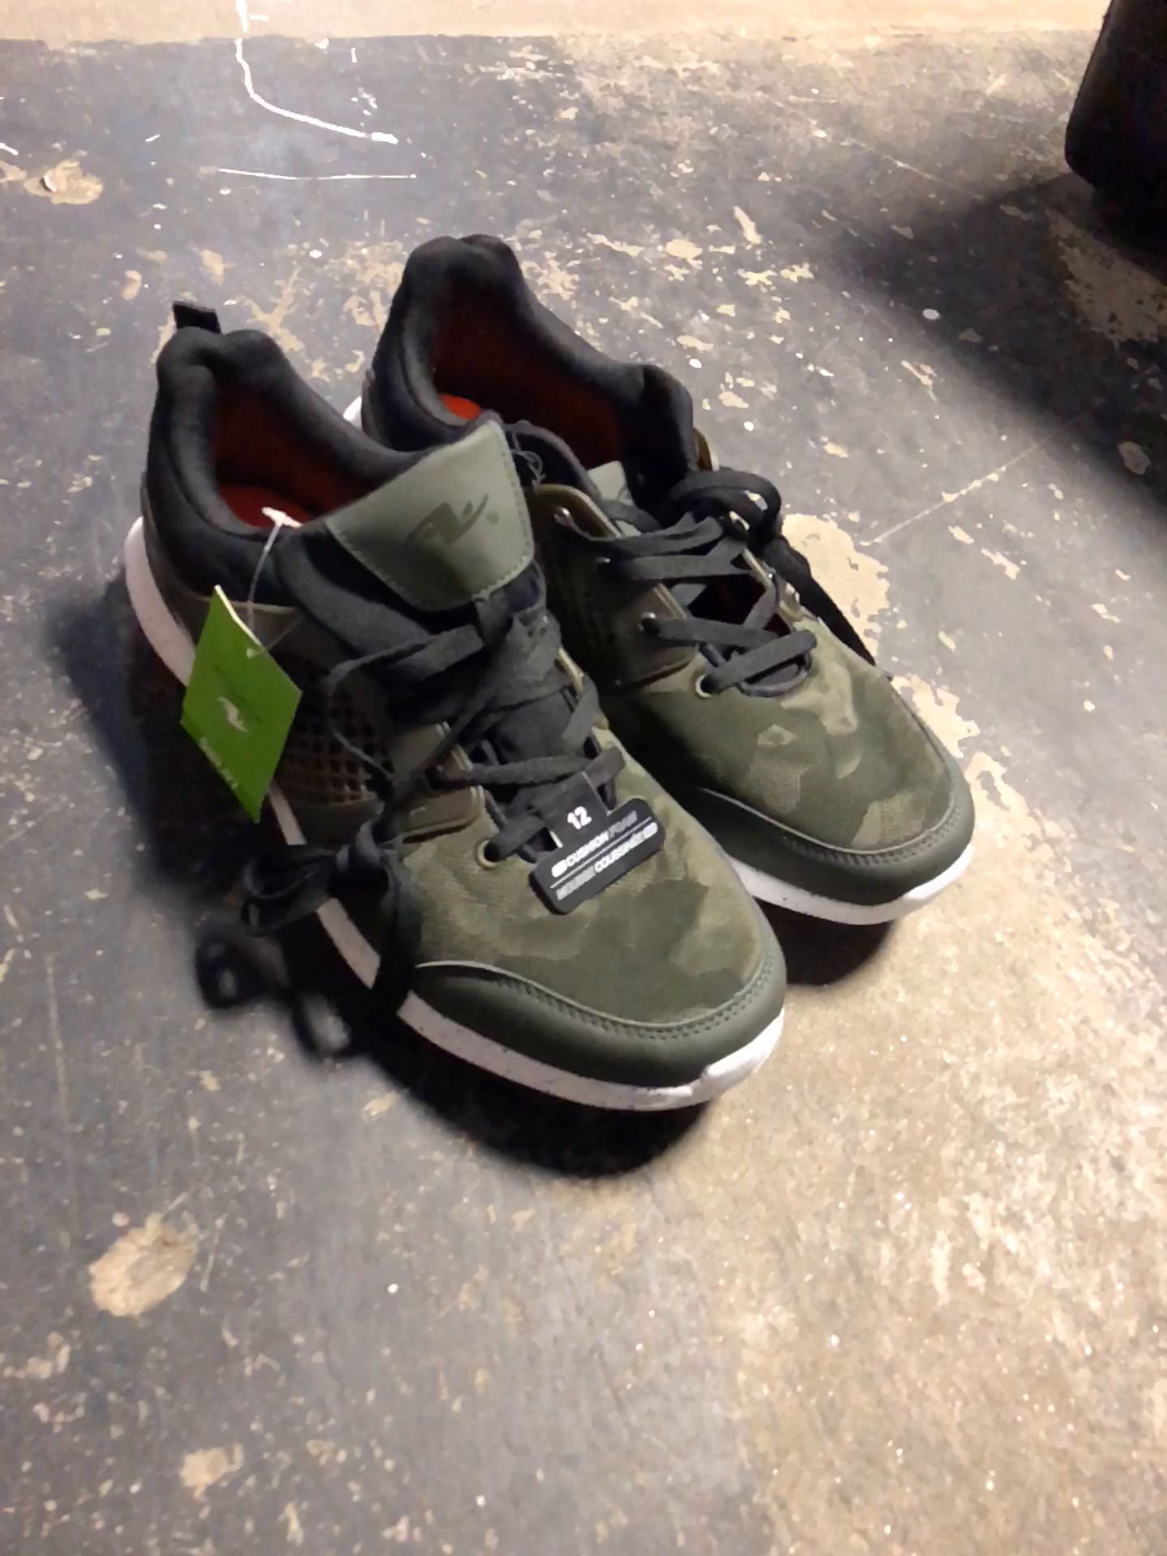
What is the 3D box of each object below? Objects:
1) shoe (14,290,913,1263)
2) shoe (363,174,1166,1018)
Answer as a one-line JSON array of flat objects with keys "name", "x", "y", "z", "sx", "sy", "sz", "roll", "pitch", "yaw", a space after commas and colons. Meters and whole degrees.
[{"name": "shoe", "x": -0.055, "y": -0.013, "z": 0.427, "sx": 0.110, "sy": 0.119, "sz": 0.301, "roll": -30, "pitch": 65, "yaw": -27}, {"name": "shoe", "x": 0.044, "y": -0.073, "z": 0.459, "sx": 0.110, "sy": 0.129, "sz": 0.271, "roll": -30, "pitch": 65, "yaw": -27}]
